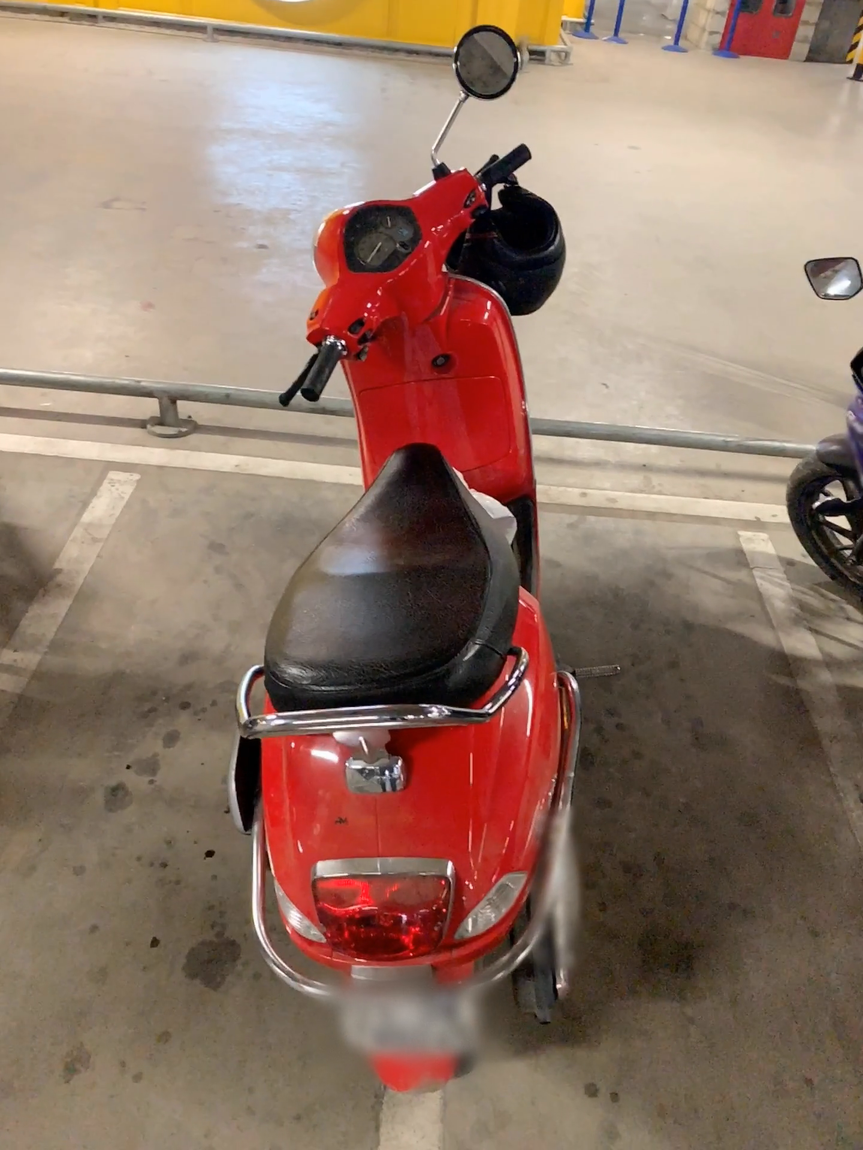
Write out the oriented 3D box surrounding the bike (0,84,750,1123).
[{"bbox_3d":[-0.167,-0.102,1.728,0.632,1.201,1.688,2,38,-6],"label":"bike"}]
